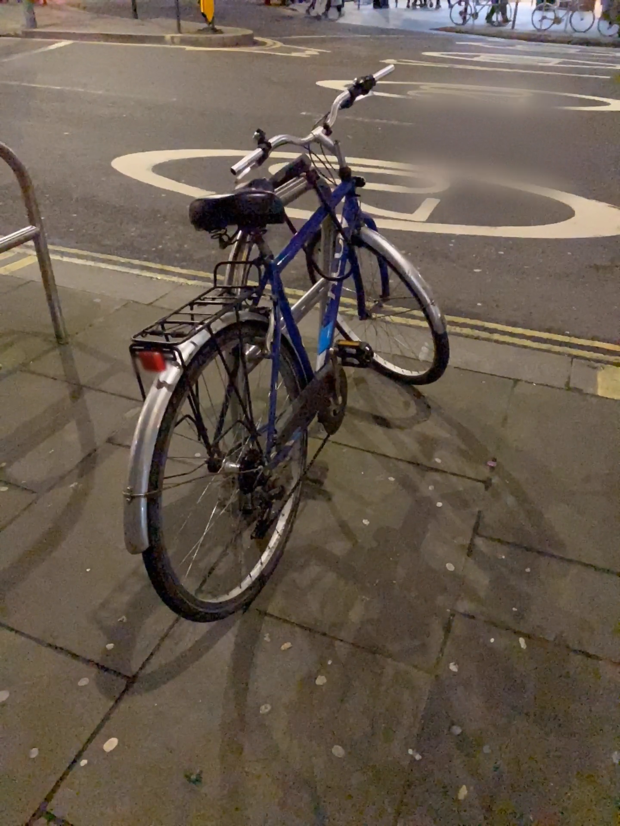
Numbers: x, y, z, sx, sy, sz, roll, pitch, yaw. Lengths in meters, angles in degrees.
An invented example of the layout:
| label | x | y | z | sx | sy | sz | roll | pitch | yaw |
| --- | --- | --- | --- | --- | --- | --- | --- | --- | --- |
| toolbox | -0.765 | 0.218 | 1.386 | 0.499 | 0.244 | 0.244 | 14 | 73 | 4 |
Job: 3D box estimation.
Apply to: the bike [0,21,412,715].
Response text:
| label | x | y | z | sx | sy | sz | roll | pitch | yaw |
| --- | --- | --- | --- | --- | --- | --- | --- | --- | --- |
| bike | -0.166 | -0.341 | 1.754 | 0.655 | 1.108 | 1.604 | 8 | 37 | 11 |
